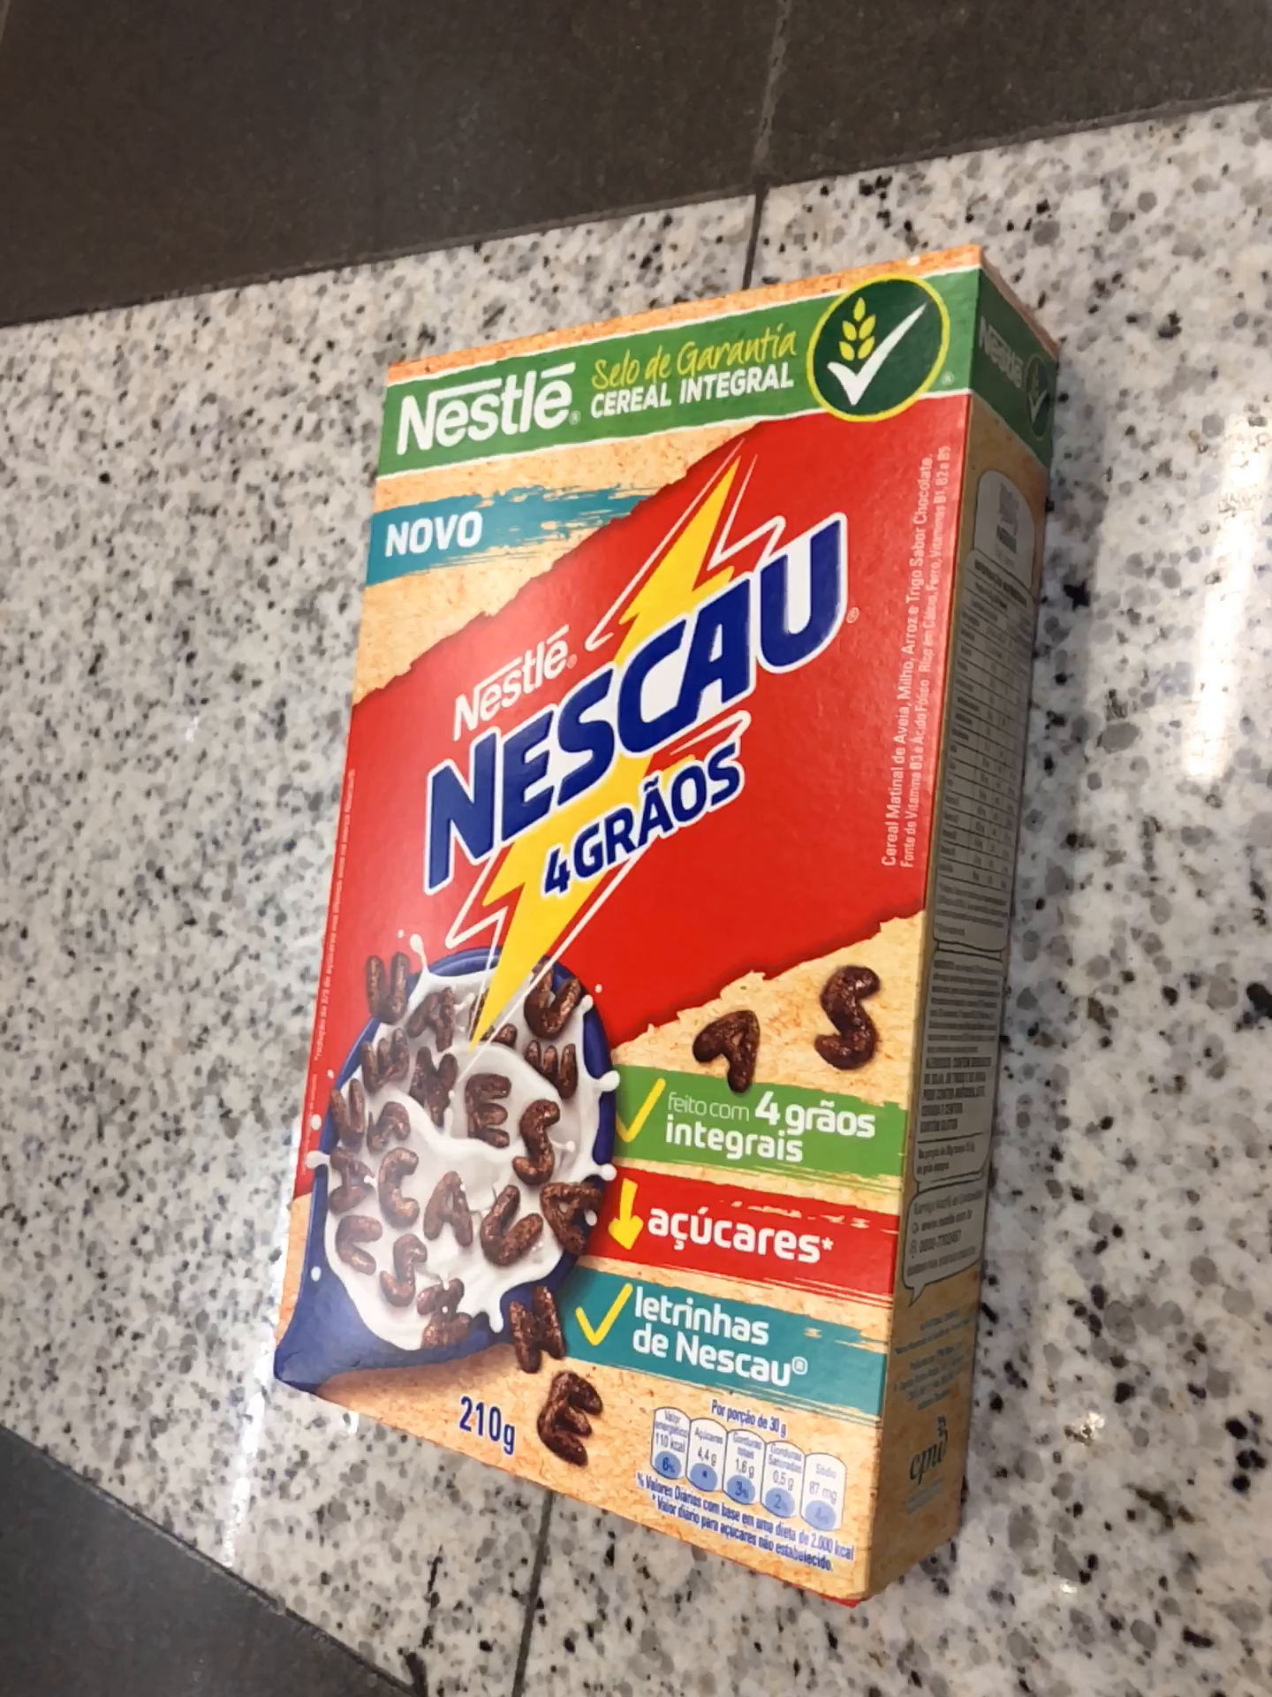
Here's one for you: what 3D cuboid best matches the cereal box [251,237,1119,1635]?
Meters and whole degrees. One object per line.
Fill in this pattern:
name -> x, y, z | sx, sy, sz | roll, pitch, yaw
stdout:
cereal box -> 0.004, 0.010, 0.311 | 0.171, 0.050, 0.240 | 3, 85, 35
